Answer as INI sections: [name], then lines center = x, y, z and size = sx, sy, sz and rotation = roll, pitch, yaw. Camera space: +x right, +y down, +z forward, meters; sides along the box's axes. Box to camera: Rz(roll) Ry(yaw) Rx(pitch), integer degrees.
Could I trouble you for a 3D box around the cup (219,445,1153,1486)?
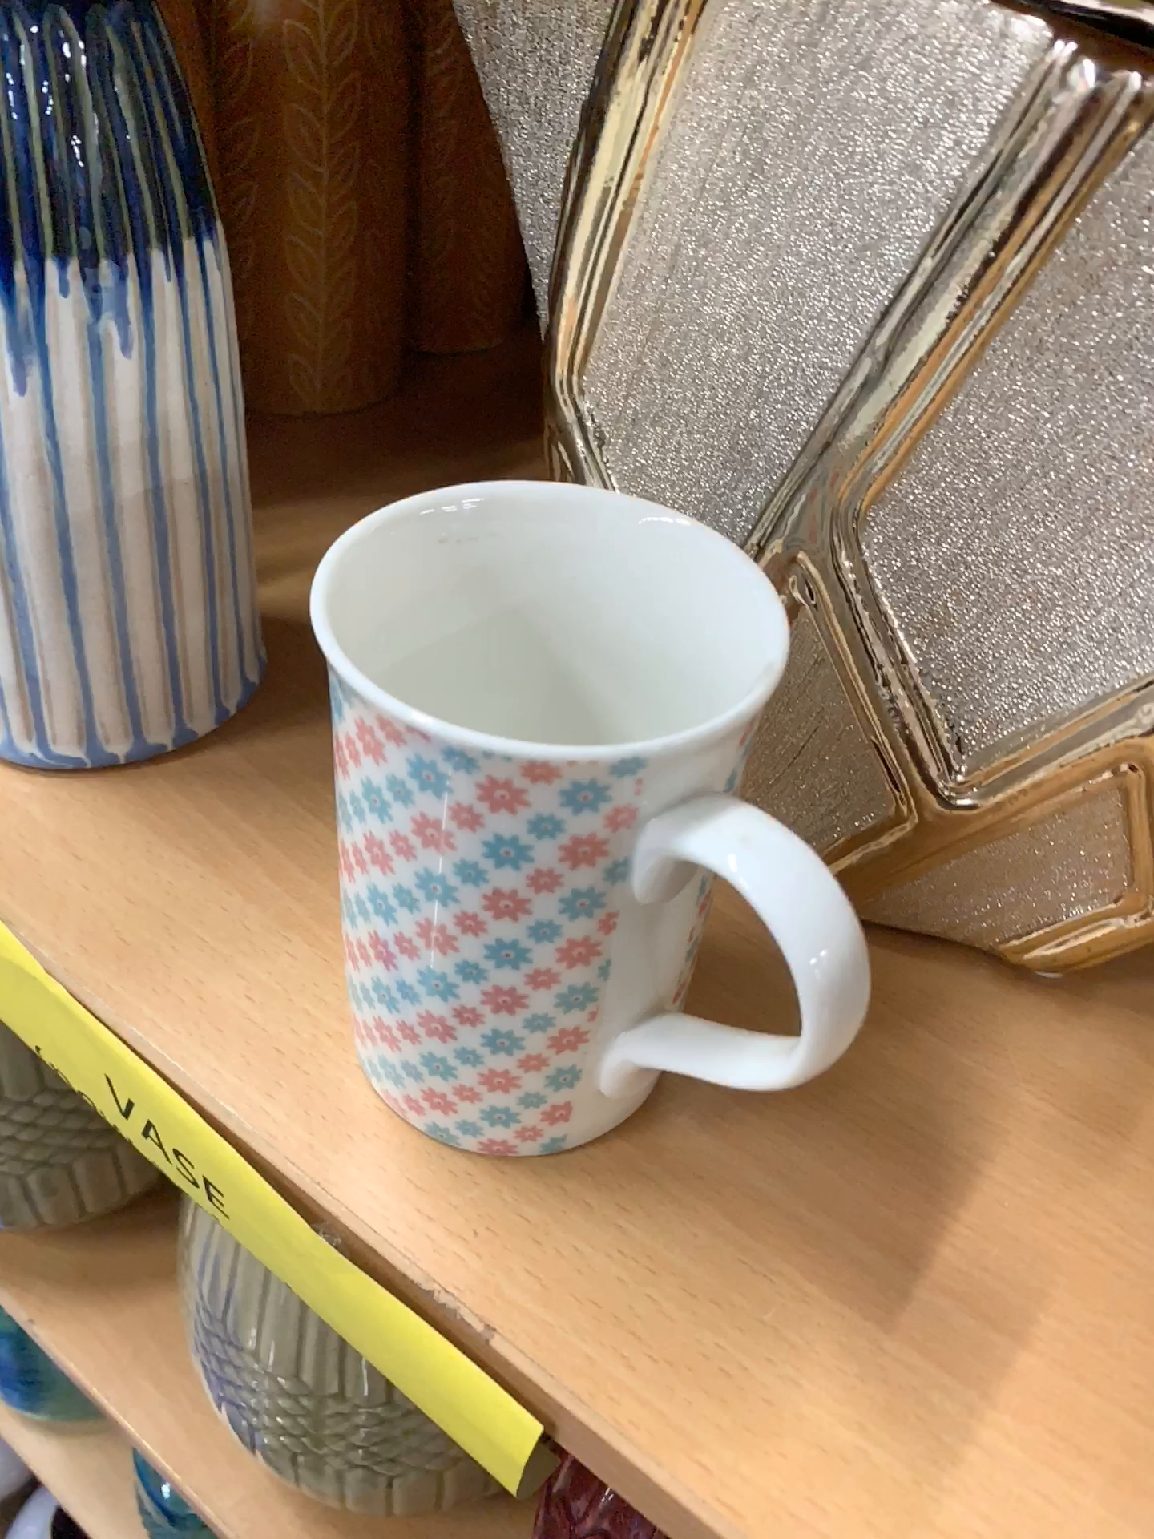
[cup]
center = 0.006, 0.026, 0.211
size = 0.080, 0.110, 0.120
rotation = -24, 49, -33
